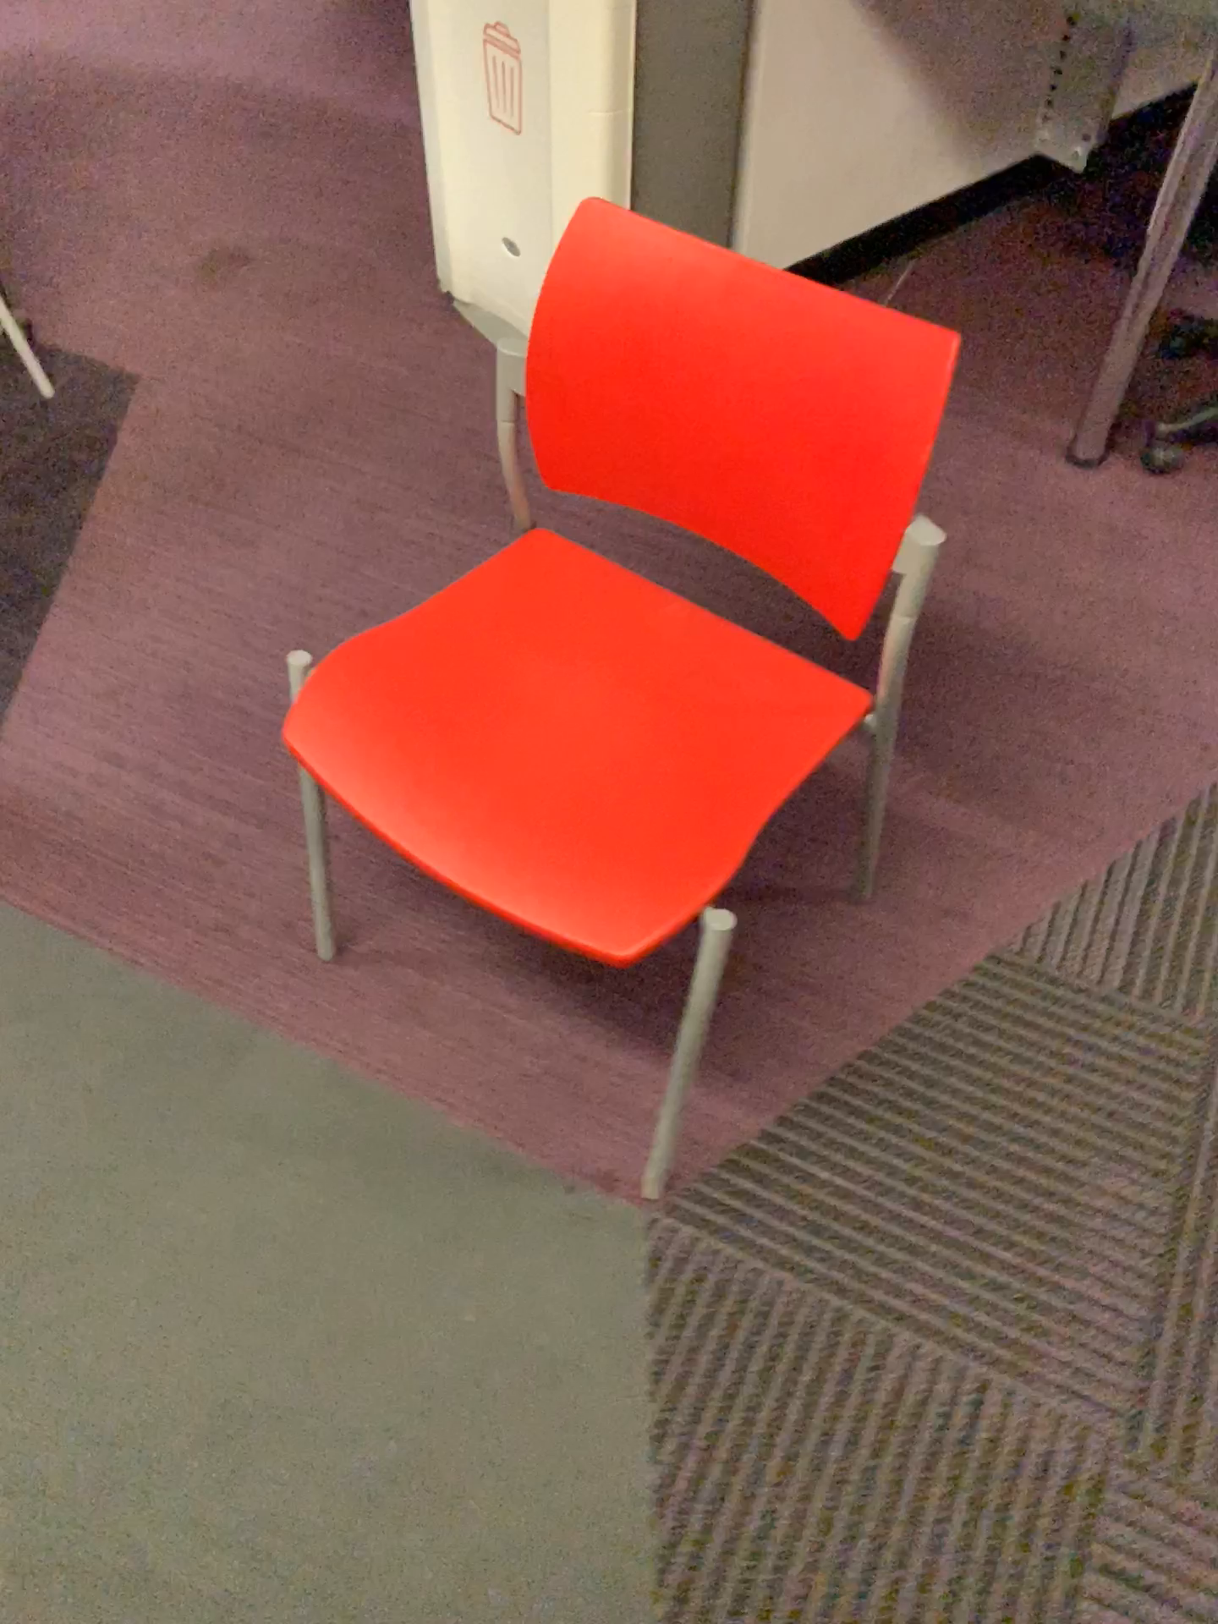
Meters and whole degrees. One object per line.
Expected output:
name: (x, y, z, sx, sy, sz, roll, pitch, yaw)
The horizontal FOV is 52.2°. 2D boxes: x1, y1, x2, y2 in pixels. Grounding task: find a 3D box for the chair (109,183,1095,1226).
chair: (0.010, -0.103, 1.237, 0.542, 0.684, 0.563, 33, 58, 26)
